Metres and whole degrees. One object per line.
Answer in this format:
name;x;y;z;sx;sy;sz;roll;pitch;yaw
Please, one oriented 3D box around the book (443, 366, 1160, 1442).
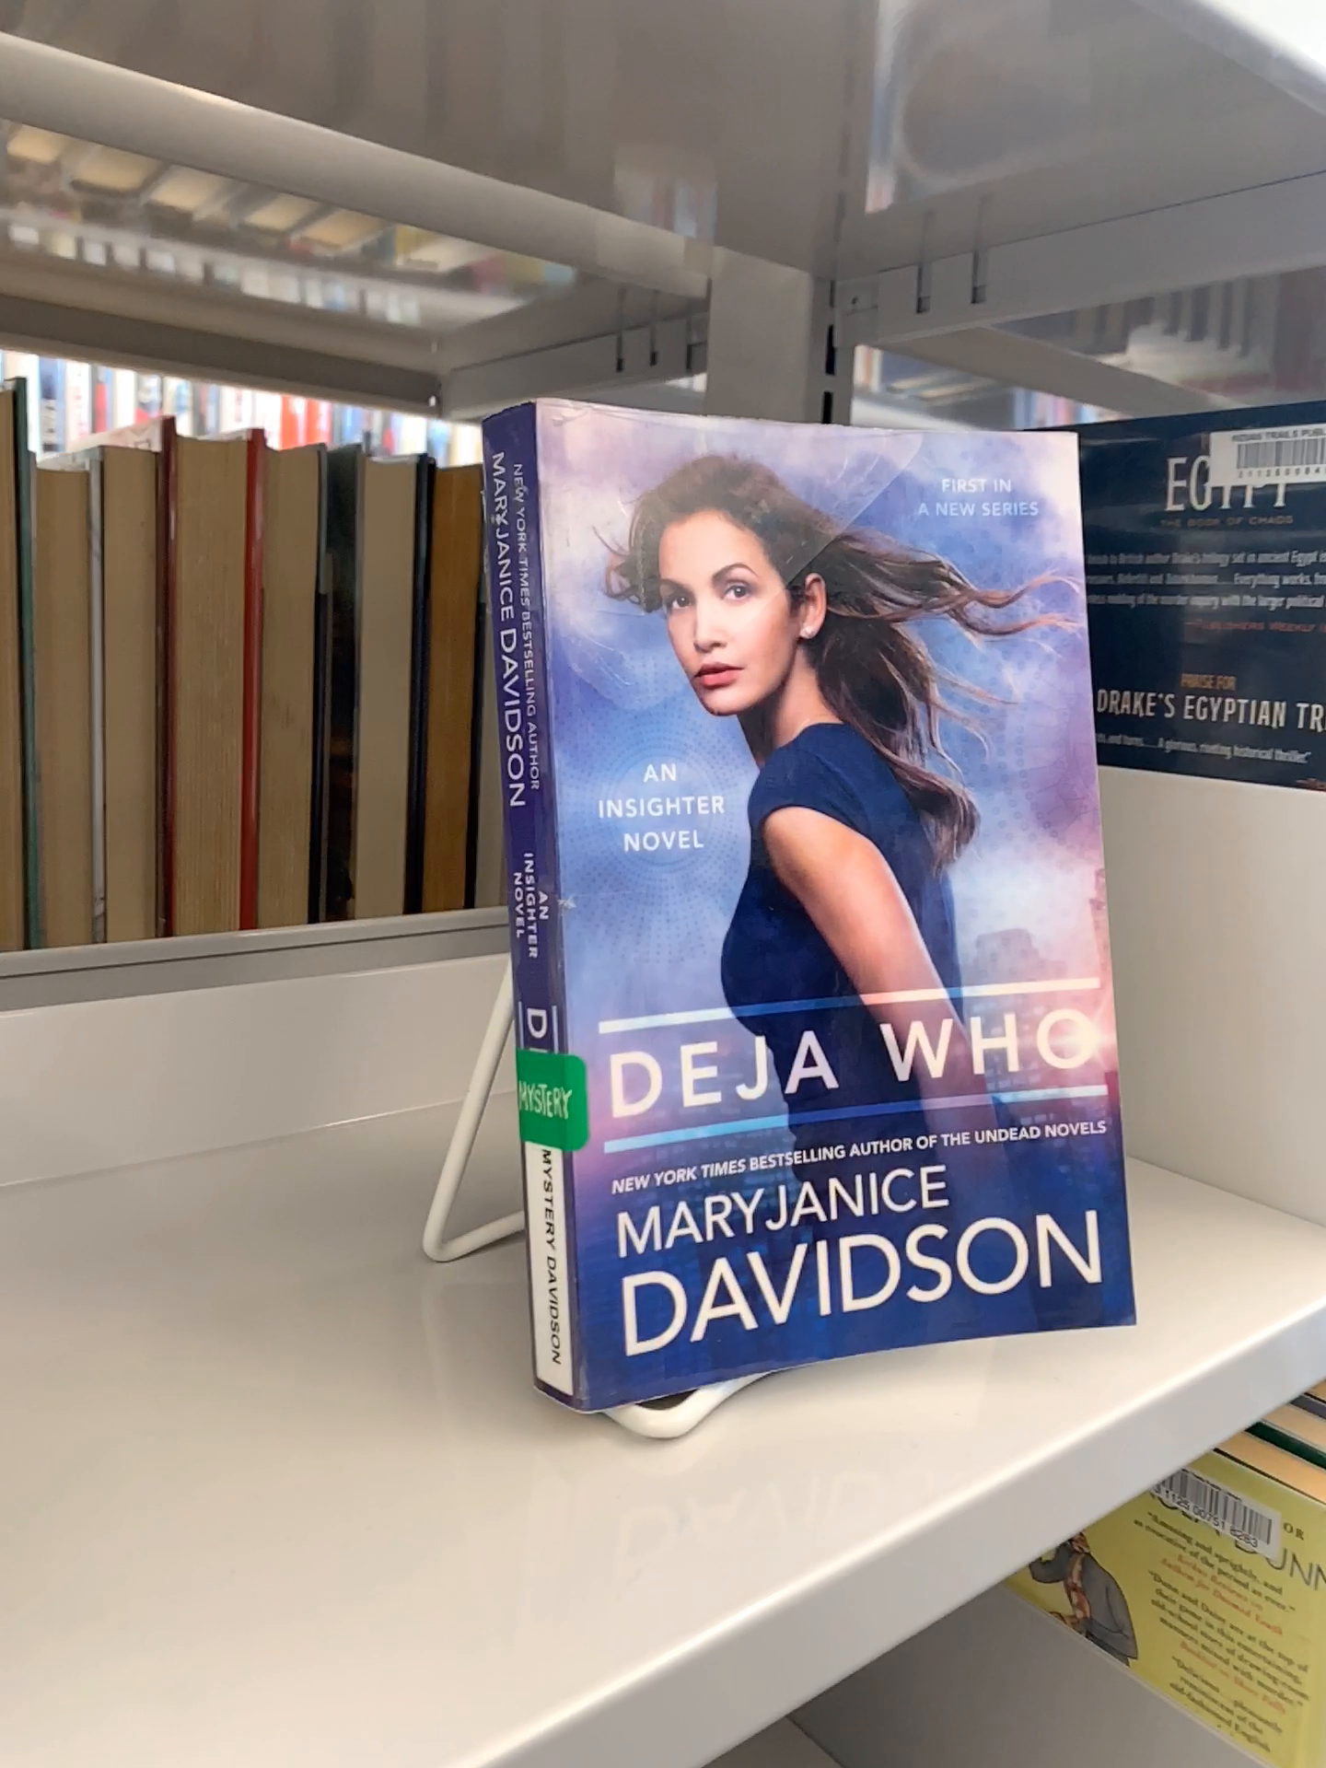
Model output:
book;0.030;0.001;0.291;0.136;0.190;0.047;-2;-2;-23
